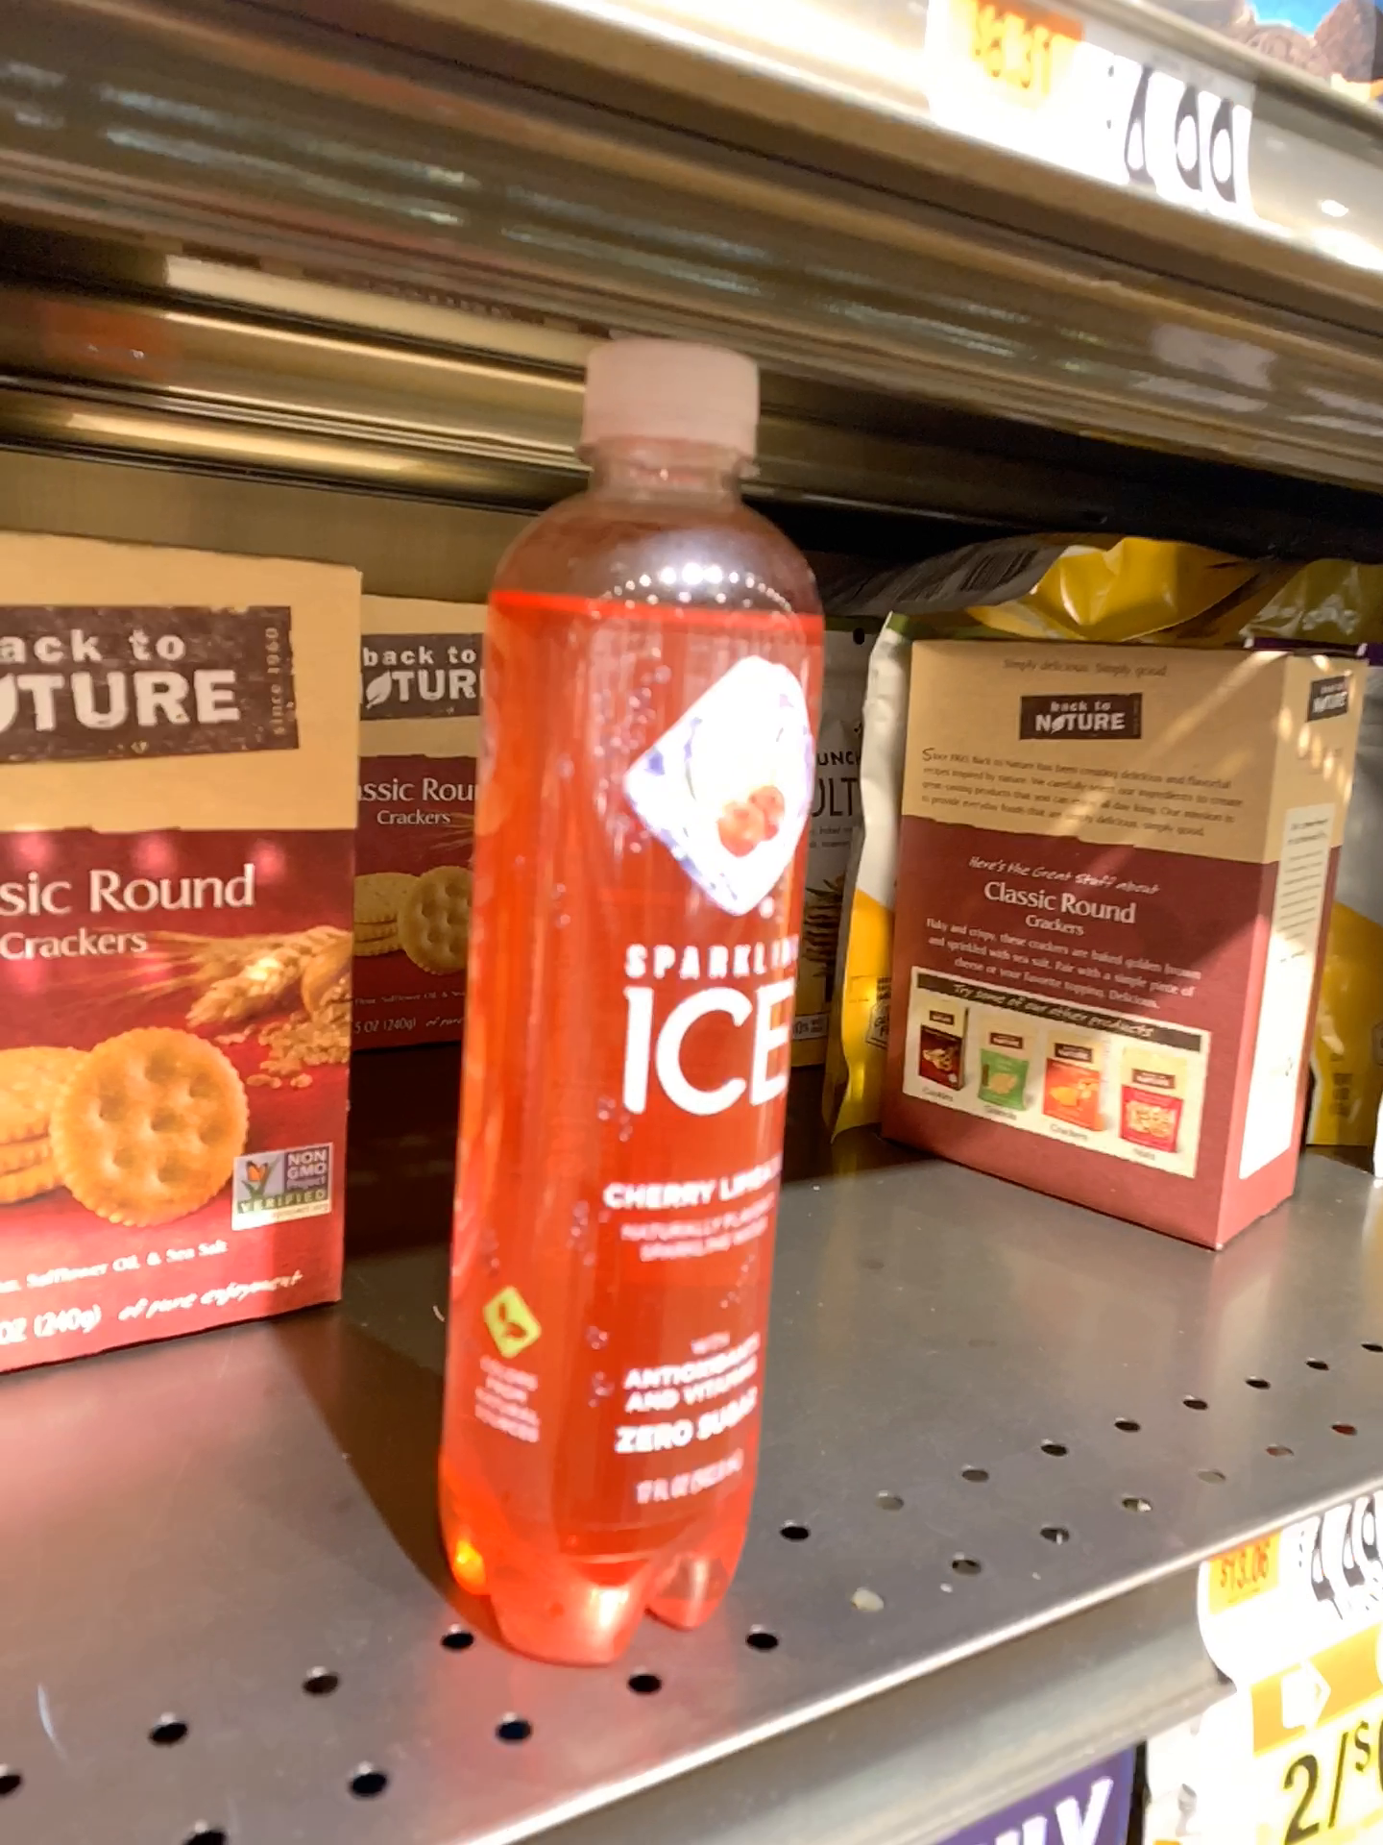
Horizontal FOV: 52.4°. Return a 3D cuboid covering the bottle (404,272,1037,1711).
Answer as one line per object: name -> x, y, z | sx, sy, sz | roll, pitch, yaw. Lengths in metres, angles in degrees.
bottle -> -0.001, 0.012, 0.241 | 0.066, 0.211, 0.060 | 5, 12, -1
